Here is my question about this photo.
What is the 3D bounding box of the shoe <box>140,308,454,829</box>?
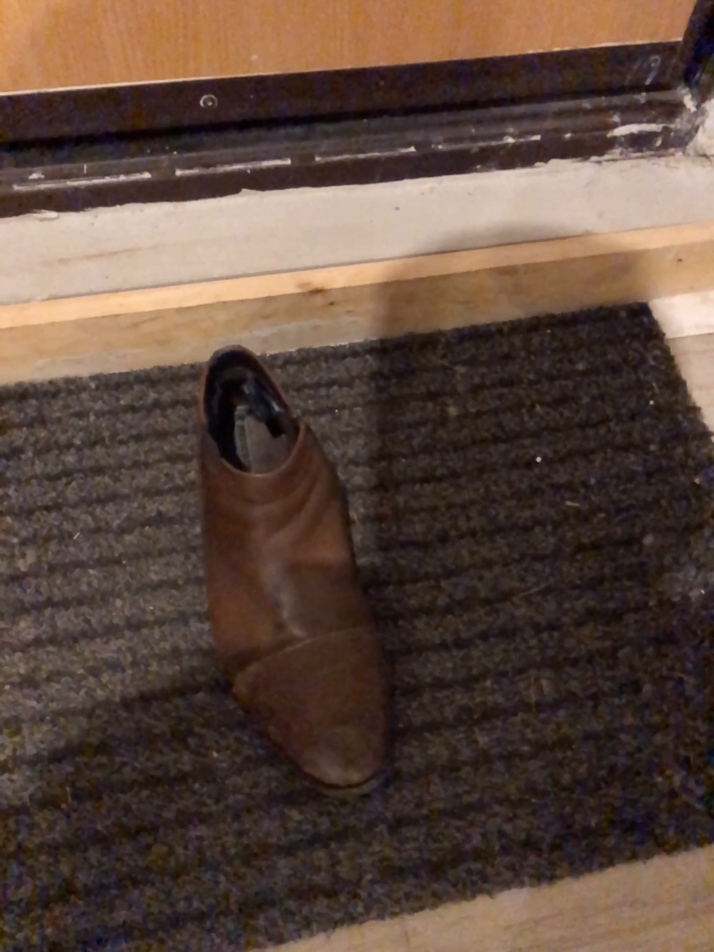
[{"bbox_3d":[-0.050,0.053,0.522,0.110,0.129,0.301,-15,61,-11],"label":"shoe"}]
